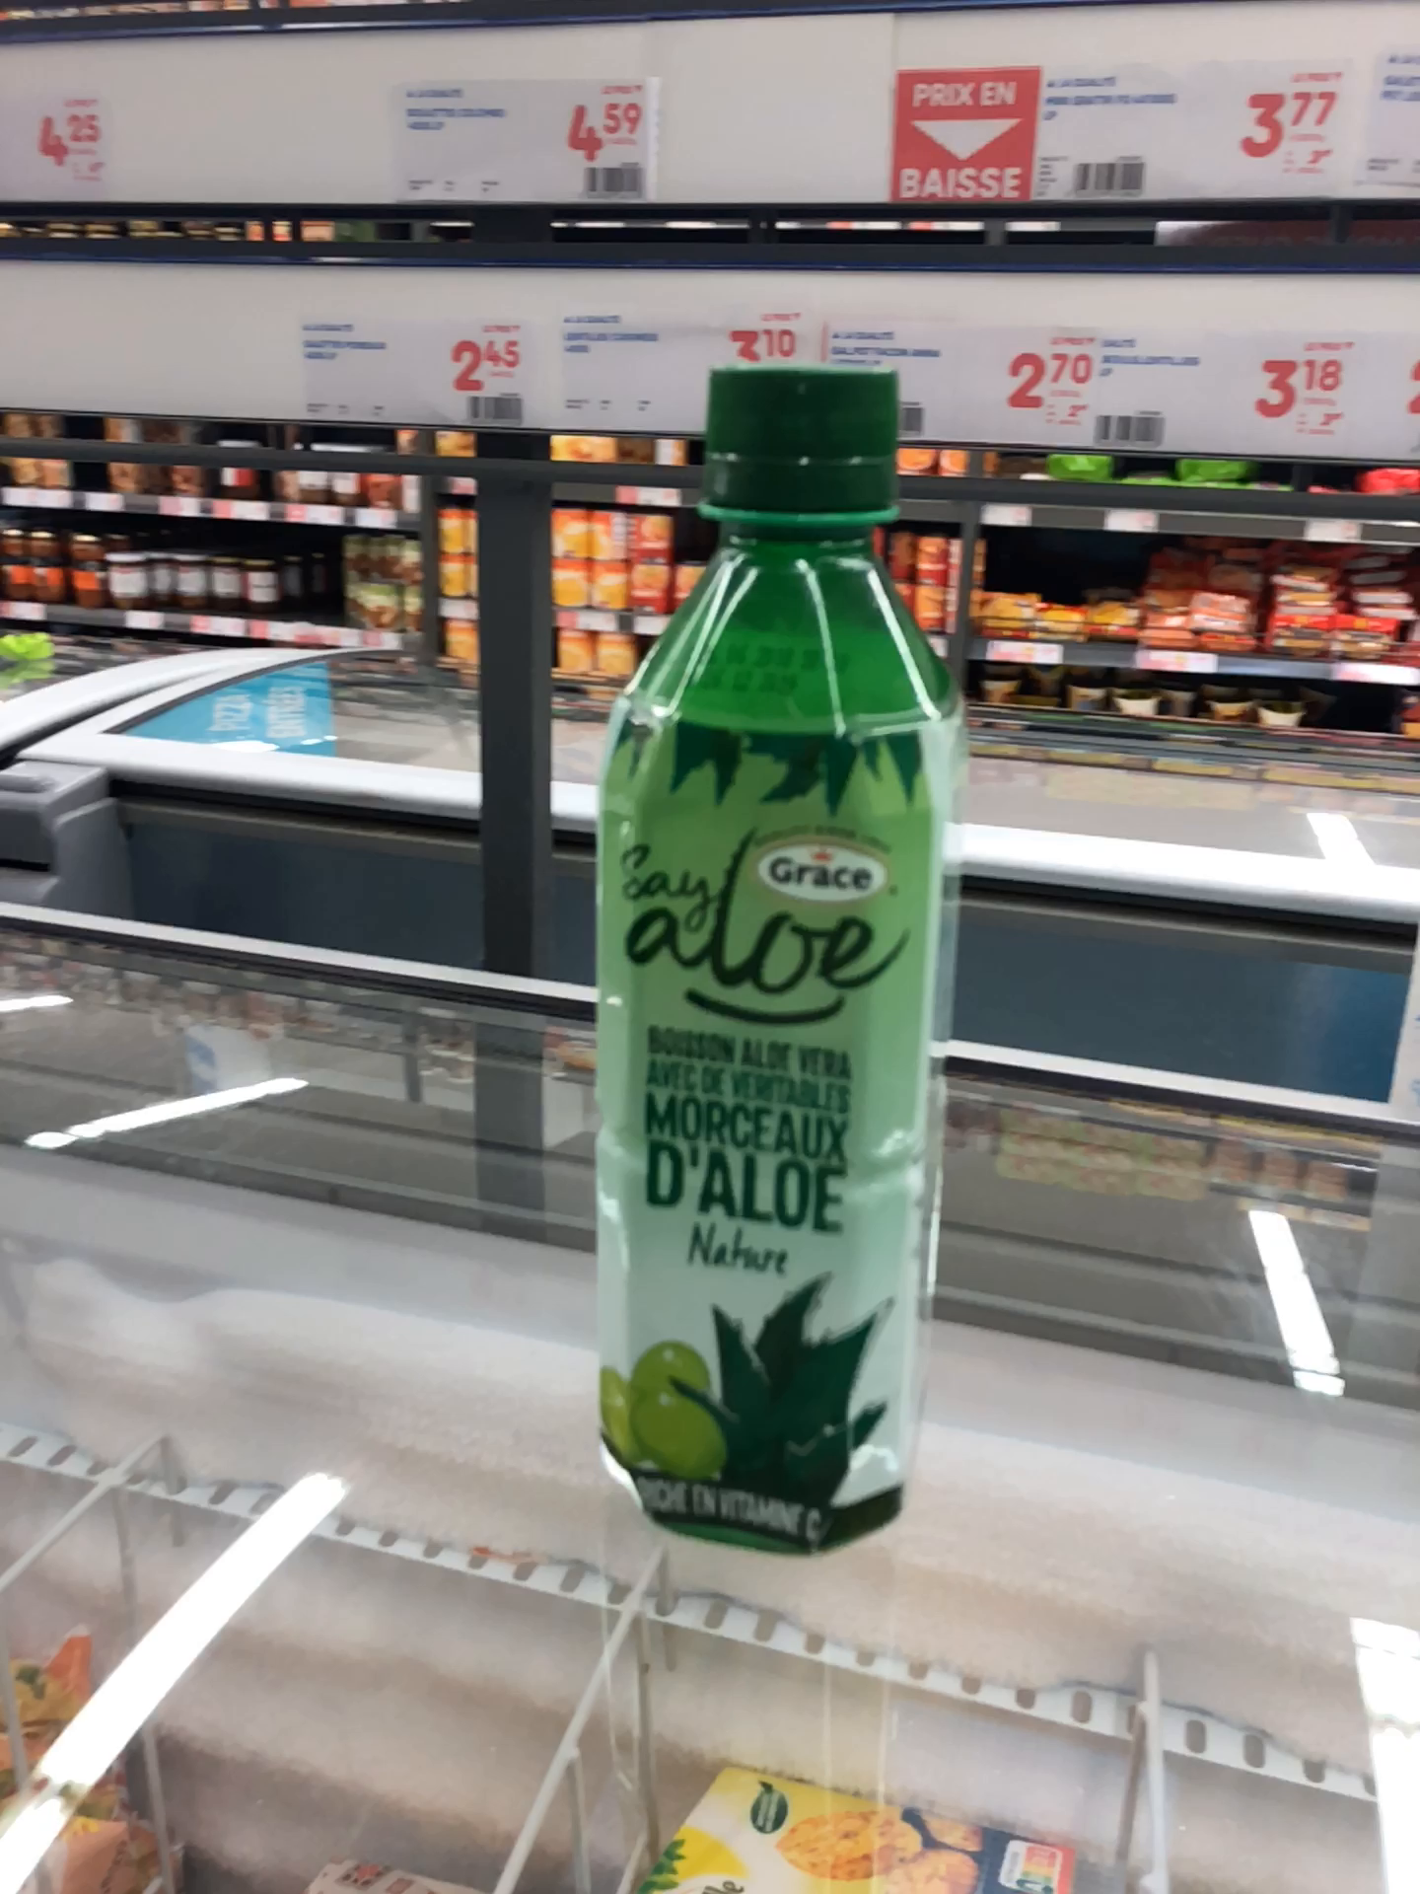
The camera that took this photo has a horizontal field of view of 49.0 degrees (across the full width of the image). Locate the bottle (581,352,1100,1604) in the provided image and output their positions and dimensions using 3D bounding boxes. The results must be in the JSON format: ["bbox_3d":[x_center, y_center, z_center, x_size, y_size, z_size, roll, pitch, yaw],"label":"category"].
[{"bbox_3d":[0.022,0.004,0.275,0.070,0.199,0.070,2,18,-1],"label":"bottle"}]
